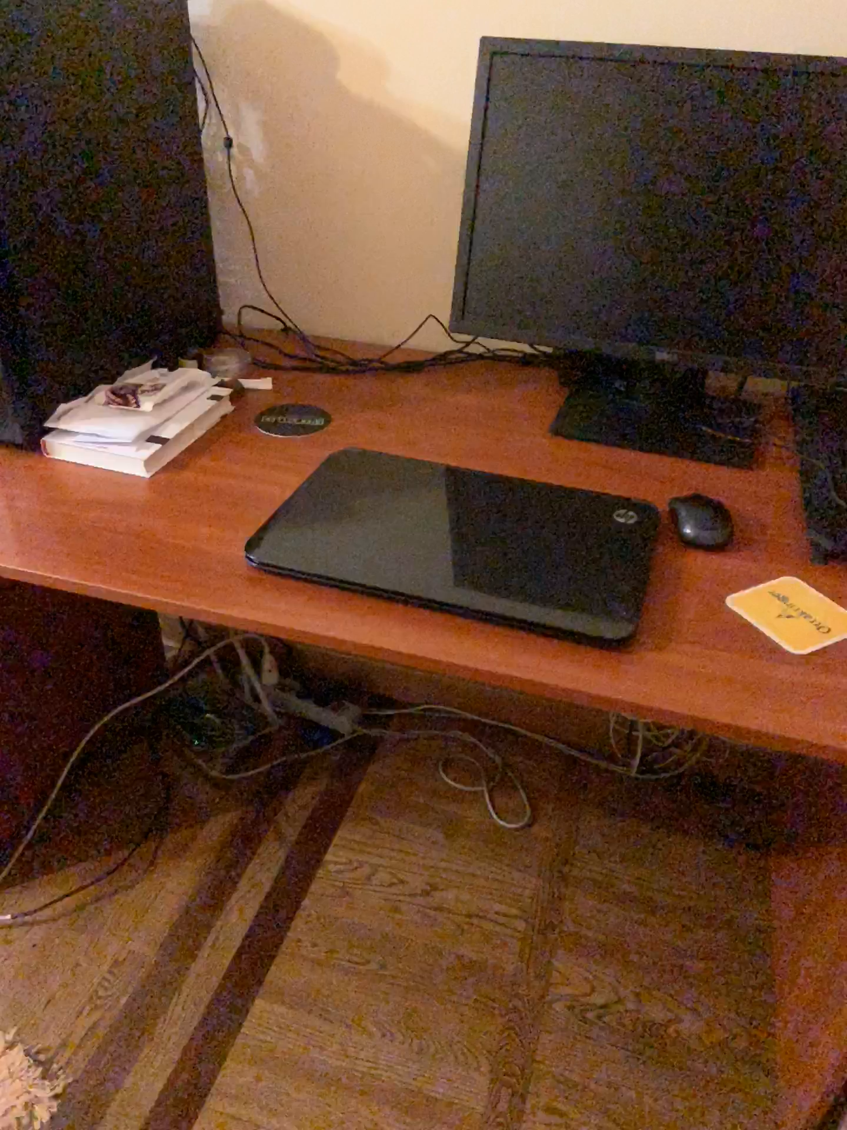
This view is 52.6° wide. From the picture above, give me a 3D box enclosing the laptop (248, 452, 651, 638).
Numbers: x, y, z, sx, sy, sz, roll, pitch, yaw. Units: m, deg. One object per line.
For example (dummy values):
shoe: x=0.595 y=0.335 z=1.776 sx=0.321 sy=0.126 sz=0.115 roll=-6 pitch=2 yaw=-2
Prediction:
laptop: x=0.038 y=-0.037 z=0.917 sx=0.381 sy=0.001 sz=0.243 roll=11 pitch=36 yaw=16
